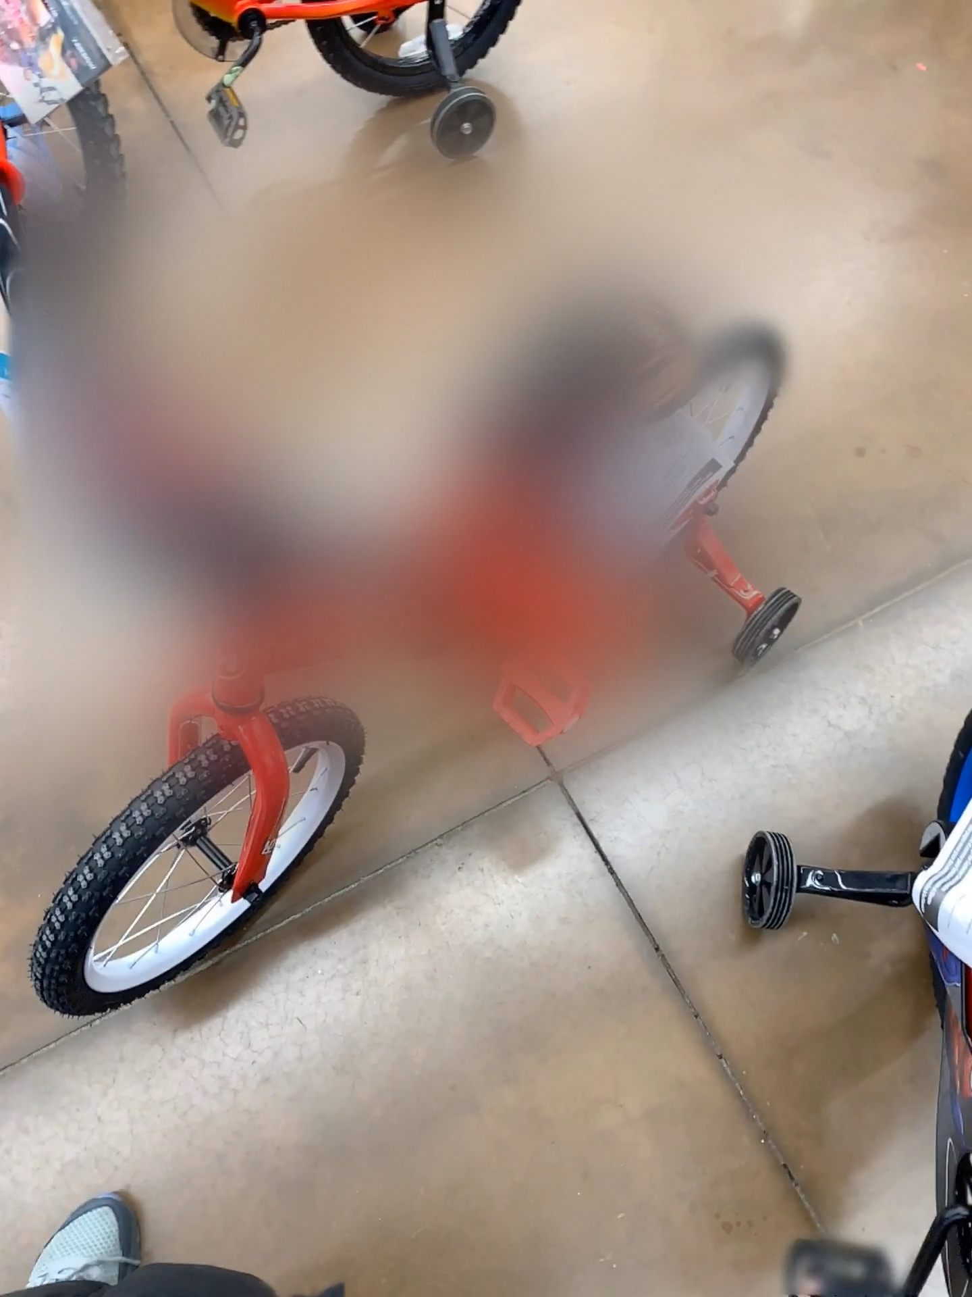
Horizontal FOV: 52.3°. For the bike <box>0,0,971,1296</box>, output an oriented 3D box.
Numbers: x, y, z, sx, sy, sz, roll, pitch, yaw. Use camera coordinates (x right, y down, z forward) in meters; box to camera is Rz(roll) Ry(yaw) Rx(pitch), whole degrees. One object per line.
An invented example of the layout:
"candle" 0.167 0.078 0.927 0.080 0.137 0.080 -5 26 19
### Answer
"bike" 0.003 -0.080 0.915 1.070 0.851 0.586 -41 71 -19
